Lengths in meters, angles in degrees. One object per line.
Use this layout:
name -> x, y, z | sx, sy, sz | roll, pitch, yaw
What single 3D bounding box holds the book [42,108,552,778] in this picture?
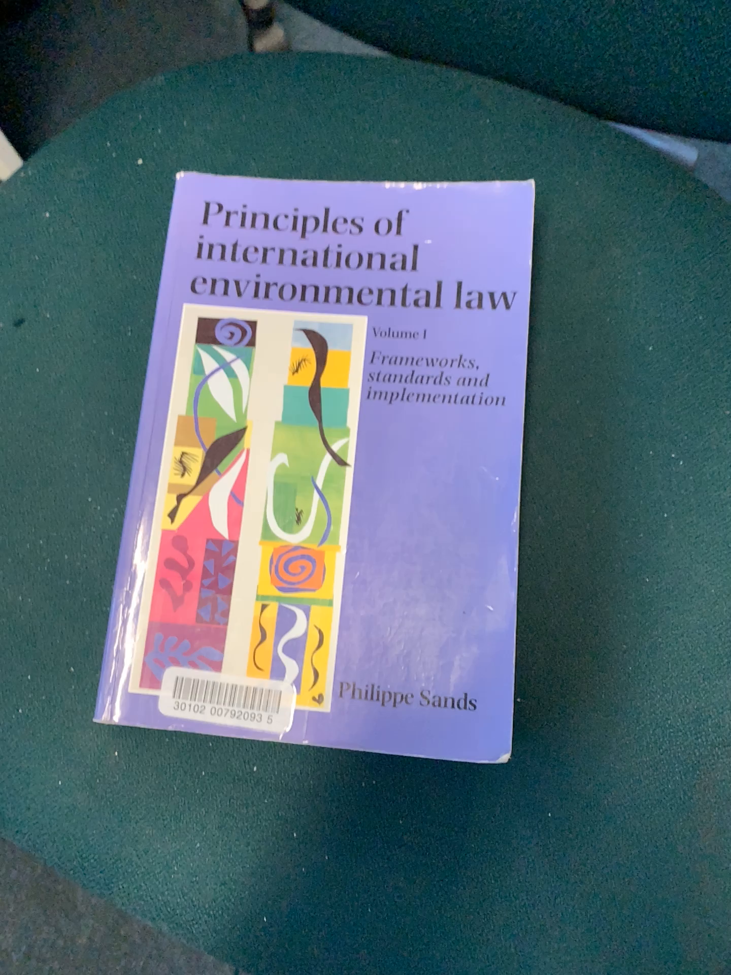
book -> -0.017, -0.030, 0.326 | 0.180, 0.050, 0.271 | 3, 76, 5
